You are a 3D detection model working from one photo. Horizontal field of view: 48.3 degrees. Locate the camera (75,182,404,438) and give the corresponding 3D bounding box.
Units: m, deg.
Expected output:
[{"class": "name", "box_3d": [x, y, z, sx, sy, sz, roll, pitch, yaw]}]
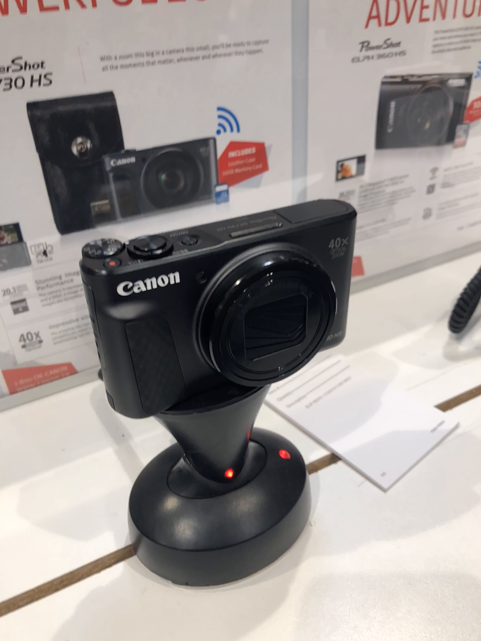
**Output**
[{"class": "camera", "box_3d": [0.002, -0.008, 0.206, 0.110, 0.060, 0.040, -16, 36, -19]}]
